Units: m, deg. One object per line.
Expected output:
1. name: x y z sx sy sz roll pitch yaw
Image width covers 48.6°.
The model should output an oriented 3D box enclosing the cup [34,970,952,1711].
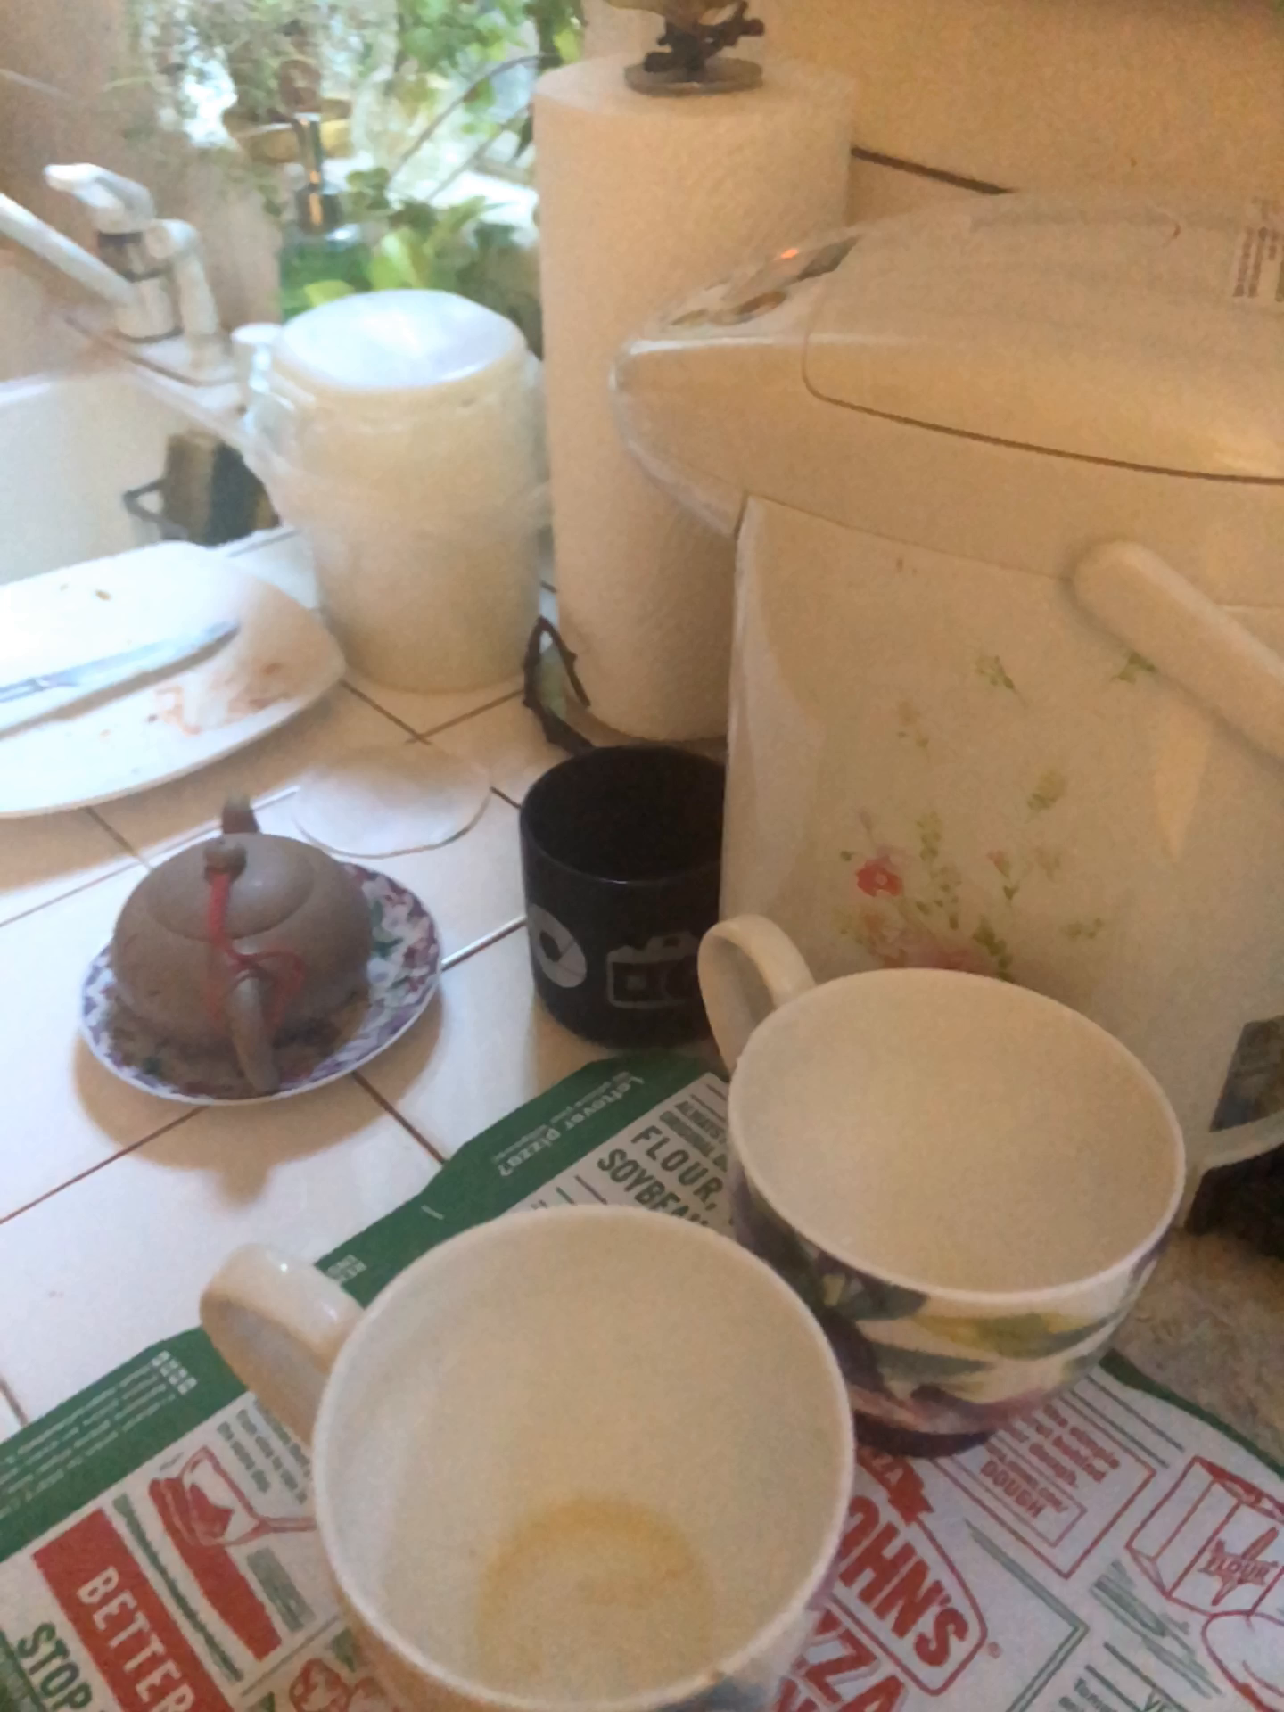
1. cup: -0.034 0.116 0.308 0.160 0.079 0.101 29 46 32

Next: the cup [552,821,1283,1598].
1. cup: 0.061 0.080 0.375 0.100 0.079 0.161 -22 43 -25

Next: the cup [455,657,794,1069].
1. cup: -0.011 -0.003 0.565 0.090 0.079 0.141 -12 39 -15
